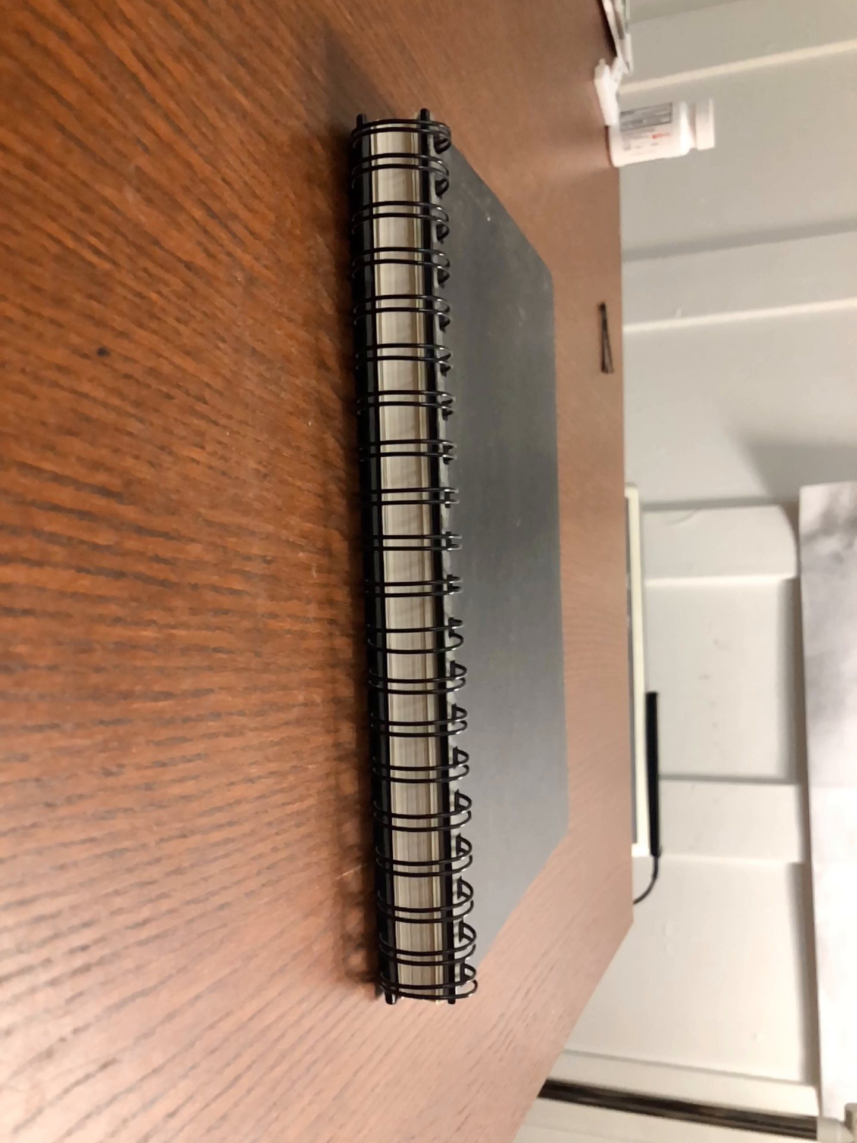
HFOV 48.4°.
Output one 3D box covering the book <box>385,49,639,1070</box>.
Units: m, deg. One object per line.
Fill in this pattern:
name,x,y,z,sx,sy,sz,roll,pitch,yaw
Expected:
book,0.042,-0.005,0.342,0.201,0.030,0.260,-8,96,-70
